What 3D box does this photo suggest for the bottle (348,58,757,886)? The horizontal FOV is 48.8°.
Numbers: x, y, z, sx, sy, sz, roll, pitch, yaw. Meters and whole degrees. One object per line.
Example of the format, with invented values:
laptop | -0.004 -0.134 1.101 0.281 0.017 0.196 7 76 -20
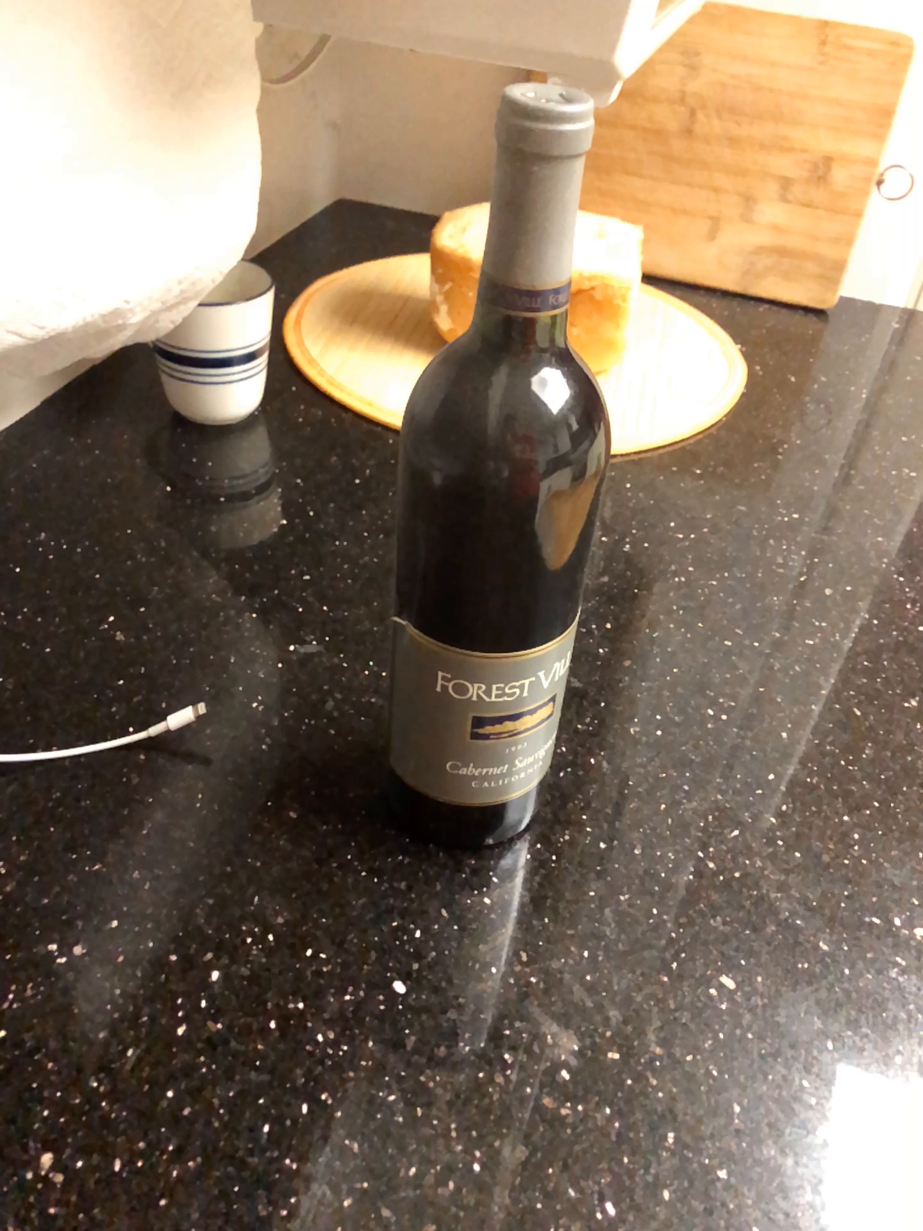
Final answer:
bottle | 0.013 -0.035 0.388 0.080 0.298 0.090 -13 43 -22
